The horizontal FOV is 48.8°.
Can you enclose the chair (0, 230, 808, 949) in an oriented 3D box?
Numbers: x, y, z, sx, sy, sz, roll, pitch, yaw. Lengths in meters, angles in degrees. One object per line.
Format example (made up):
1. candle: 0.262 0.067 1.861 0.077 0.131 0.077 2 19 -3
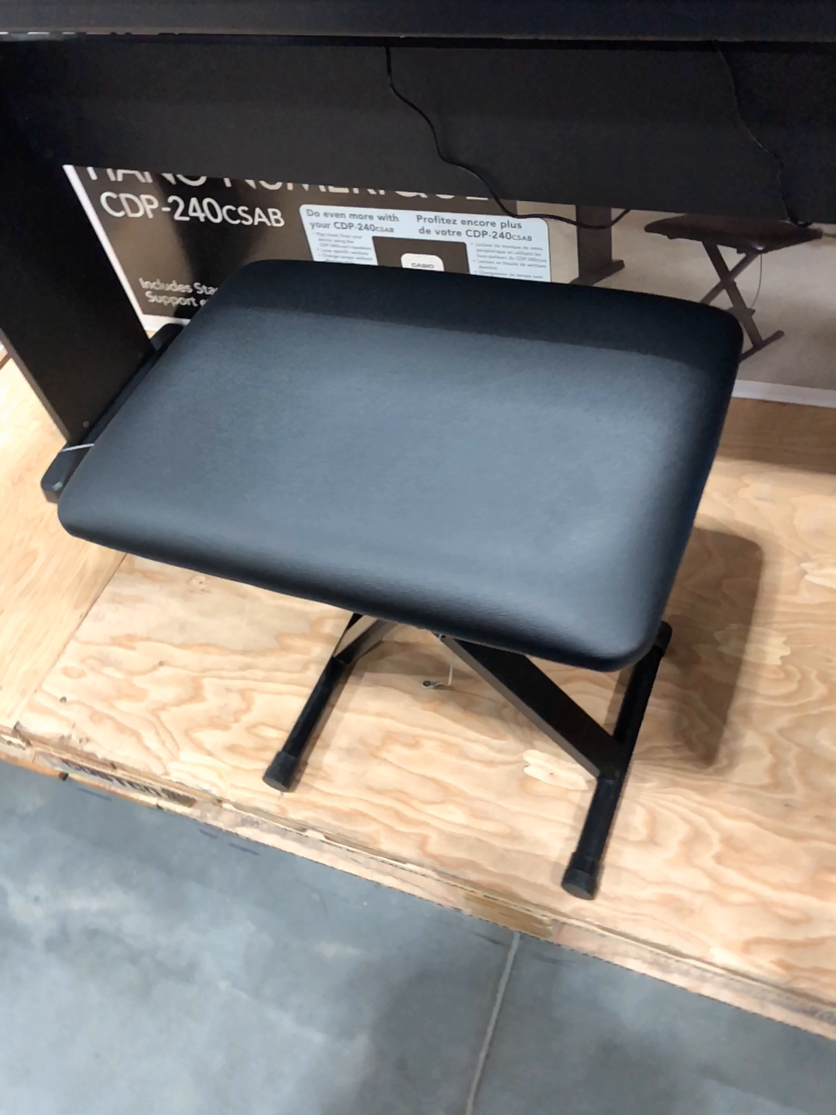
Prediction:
1. chair: -0.016 -0.005 0.727 0.511 0.279 0.371 13 57 21
